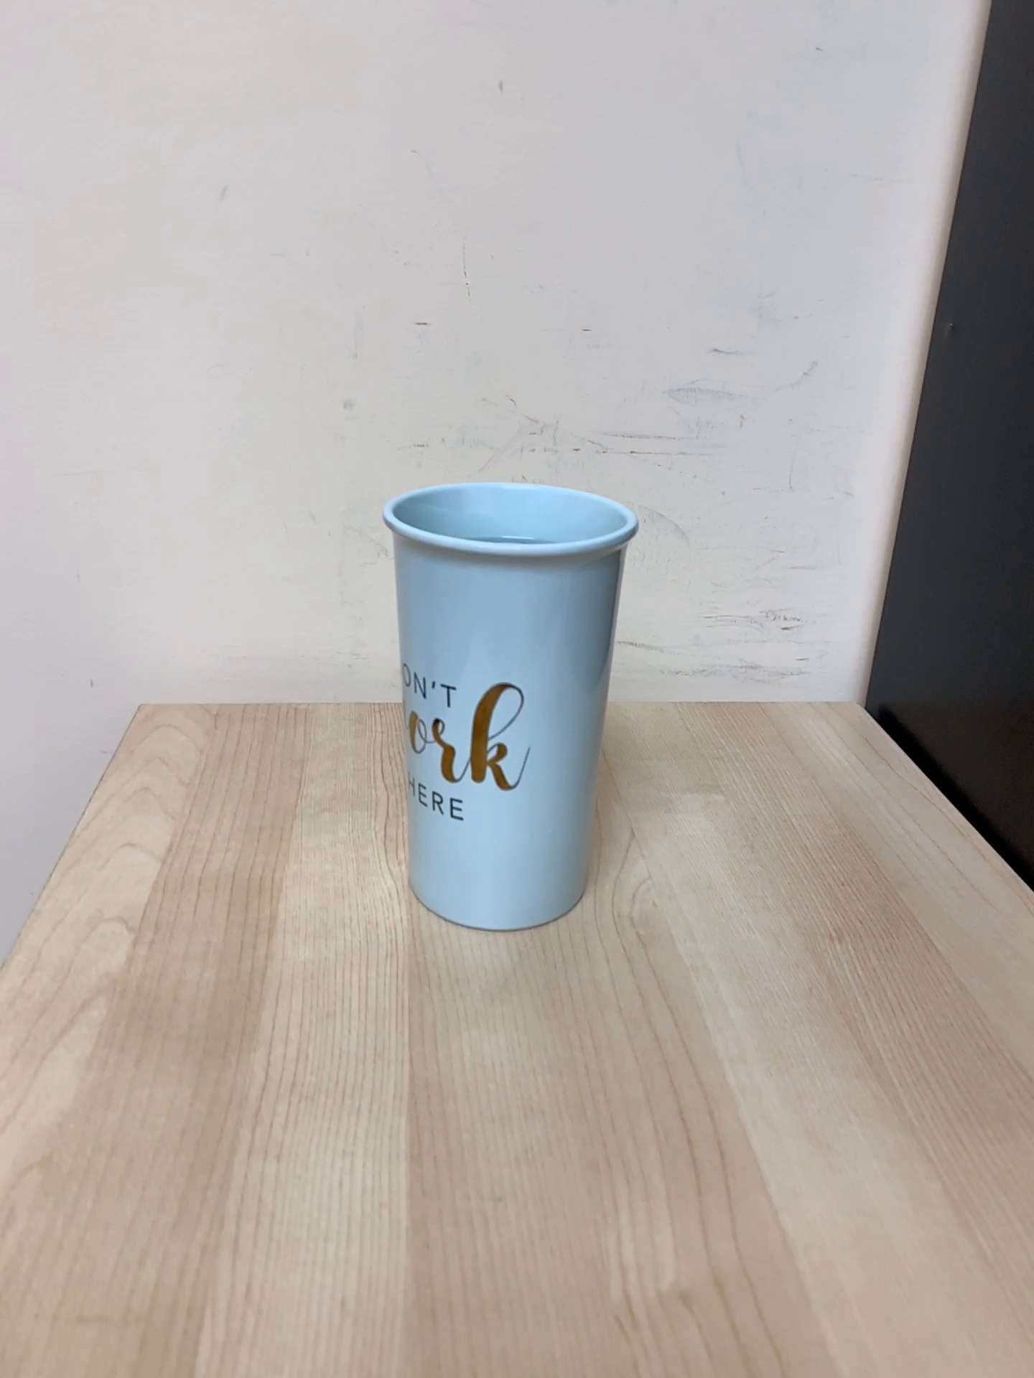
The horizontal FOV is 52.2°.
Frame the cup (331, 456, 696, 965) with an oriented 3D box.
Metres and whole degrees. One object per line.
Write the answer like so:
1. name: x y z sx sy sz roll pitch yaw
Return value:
1. cup: -0.001 0.002 0.405 0.100 0.155 0.090 13 25 24
